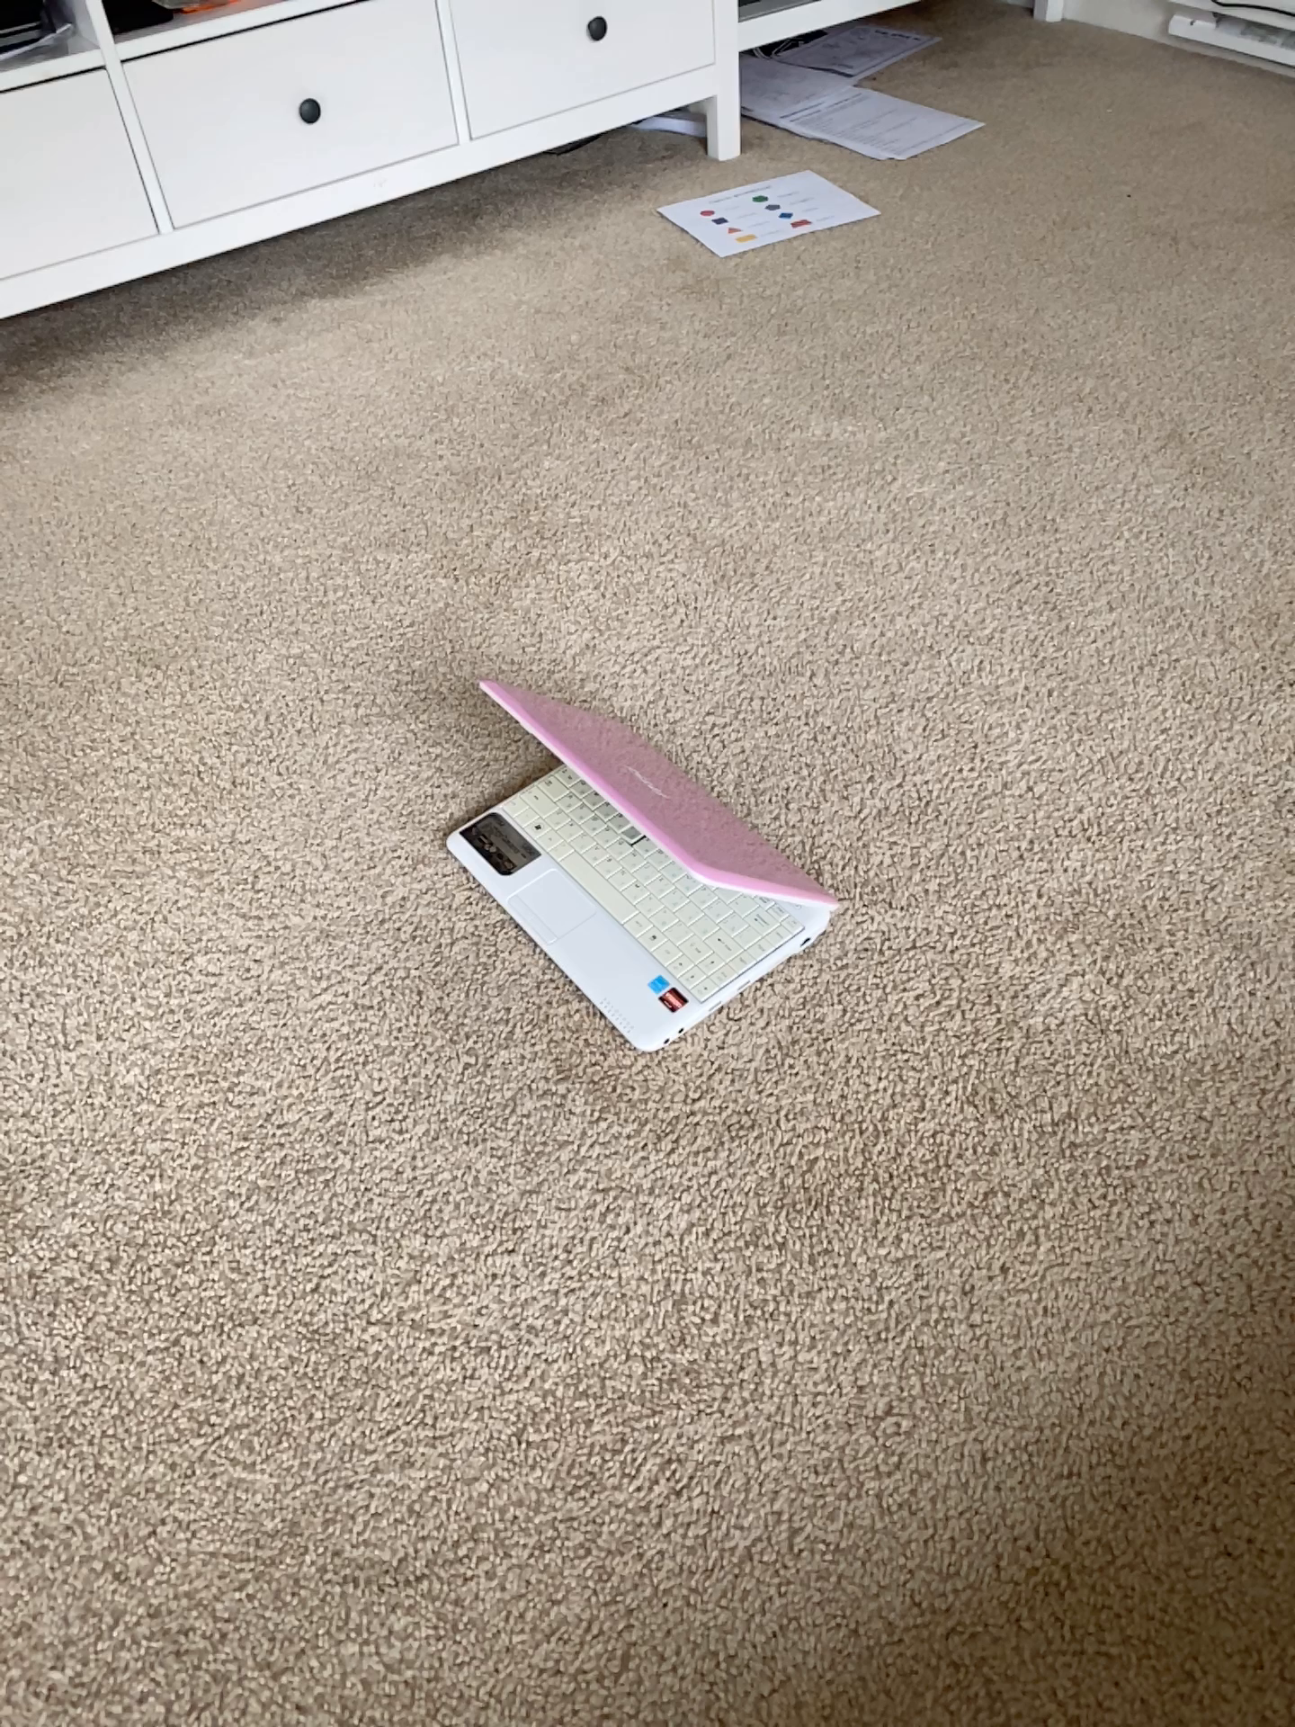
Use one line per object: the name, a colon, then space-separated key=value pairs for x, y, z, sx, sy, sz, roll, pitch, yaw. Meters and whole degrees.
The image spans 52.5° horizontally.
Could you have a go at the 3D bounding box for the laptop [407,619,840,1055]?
laptop: x=-0.024 y=-0.034 z=1.040 sx=0.197 sy=0.122 sz=0.298 roll=-33 pitch=50 yaw=-19
